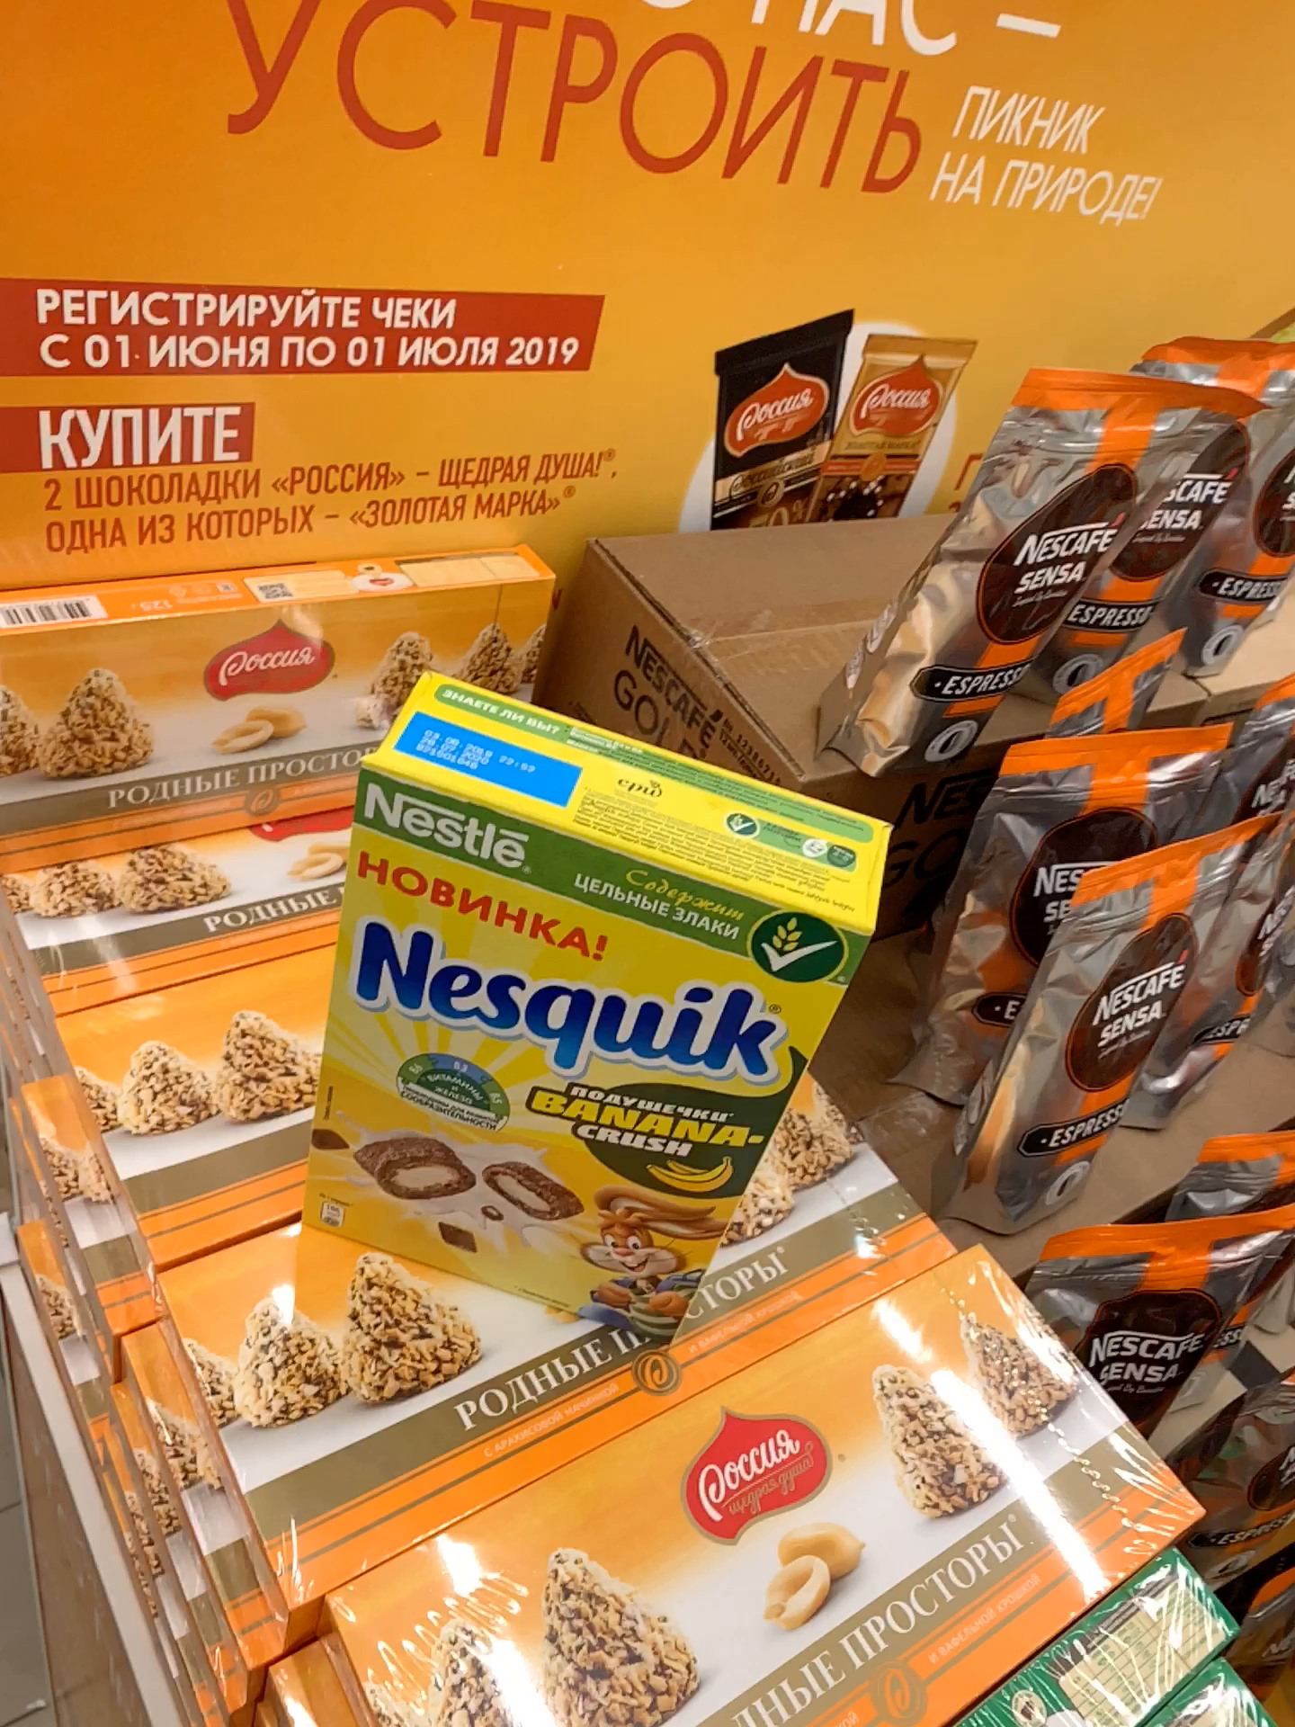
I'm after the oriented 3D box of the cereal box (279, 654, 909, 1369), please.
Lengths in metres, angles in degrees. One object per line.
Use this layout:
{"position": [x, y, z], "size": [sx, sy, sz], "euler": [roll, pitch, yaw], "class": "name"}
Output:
{"position": [-0.031, 0.063, 0.447], "size": [0.160, 0.229, 0.050], "euler": [18, 39, 1], "class": "cereal box"}
